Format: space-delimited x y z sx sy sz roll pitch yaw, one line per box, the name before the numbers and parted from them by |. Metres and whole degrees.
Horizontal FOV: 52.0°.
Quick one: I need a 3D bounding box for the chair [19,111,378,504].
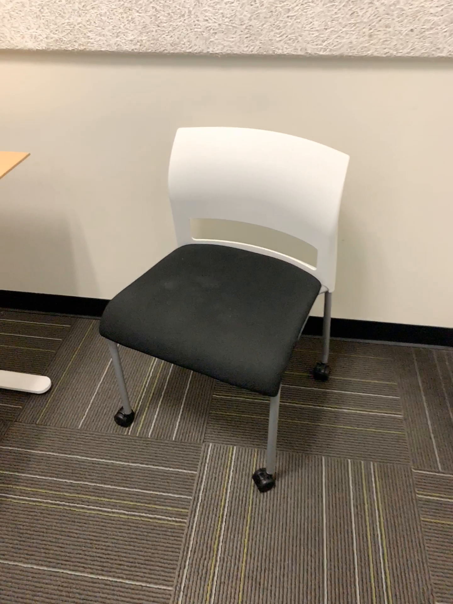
chair | -0.019 -0.007 1.226 0.581 0.736 0.542 16 43 20
